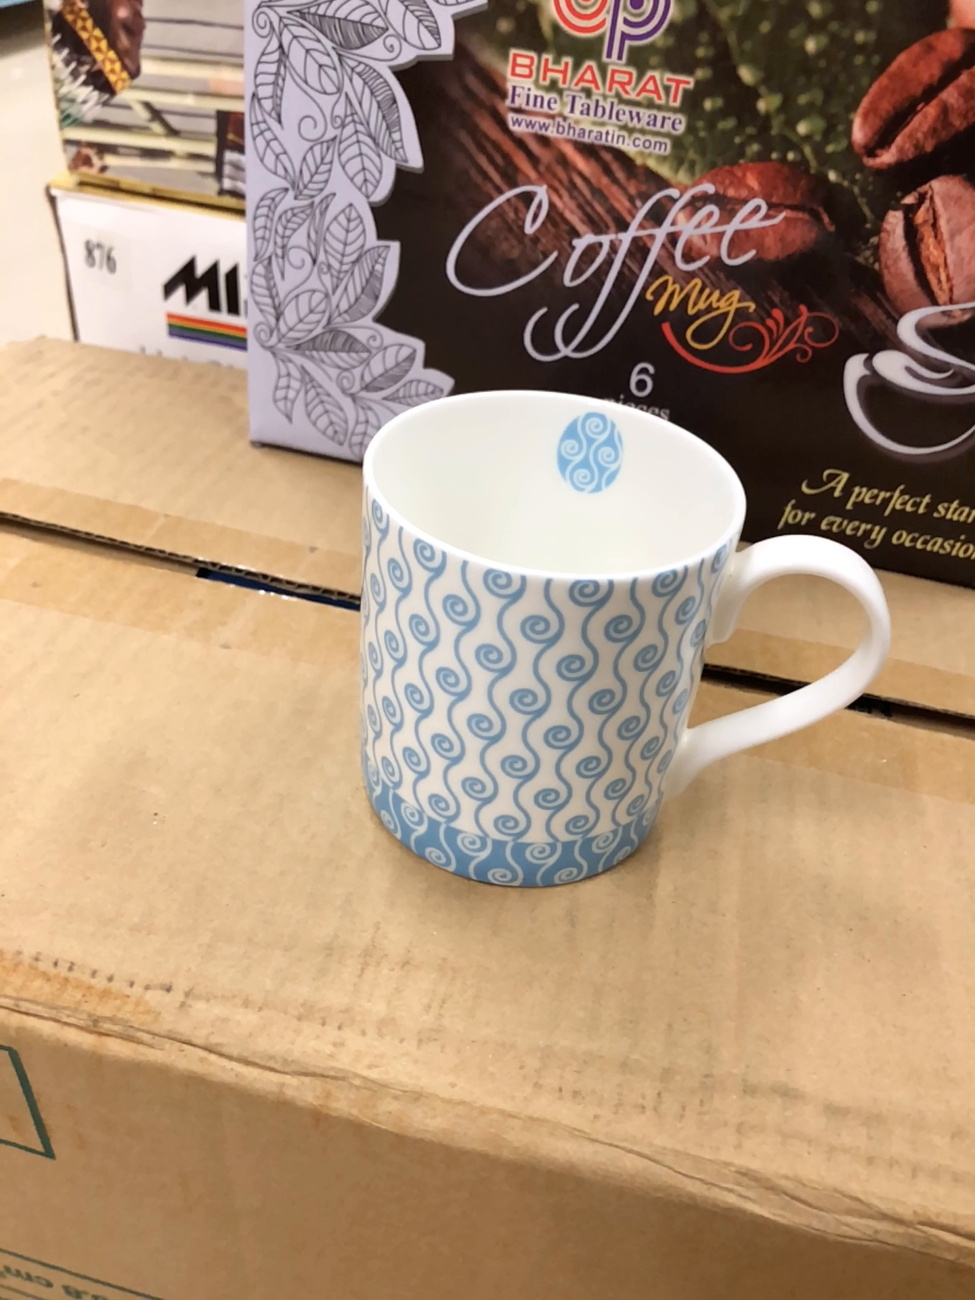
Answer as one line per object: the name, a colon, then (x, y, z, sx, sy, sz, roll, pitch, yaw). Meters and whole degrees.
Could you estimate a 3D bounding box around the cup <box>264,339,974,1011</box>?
cup: (0.022, 0.003, 0.219, 0.110, 0.089, 0.071, 12, 39, 7)
